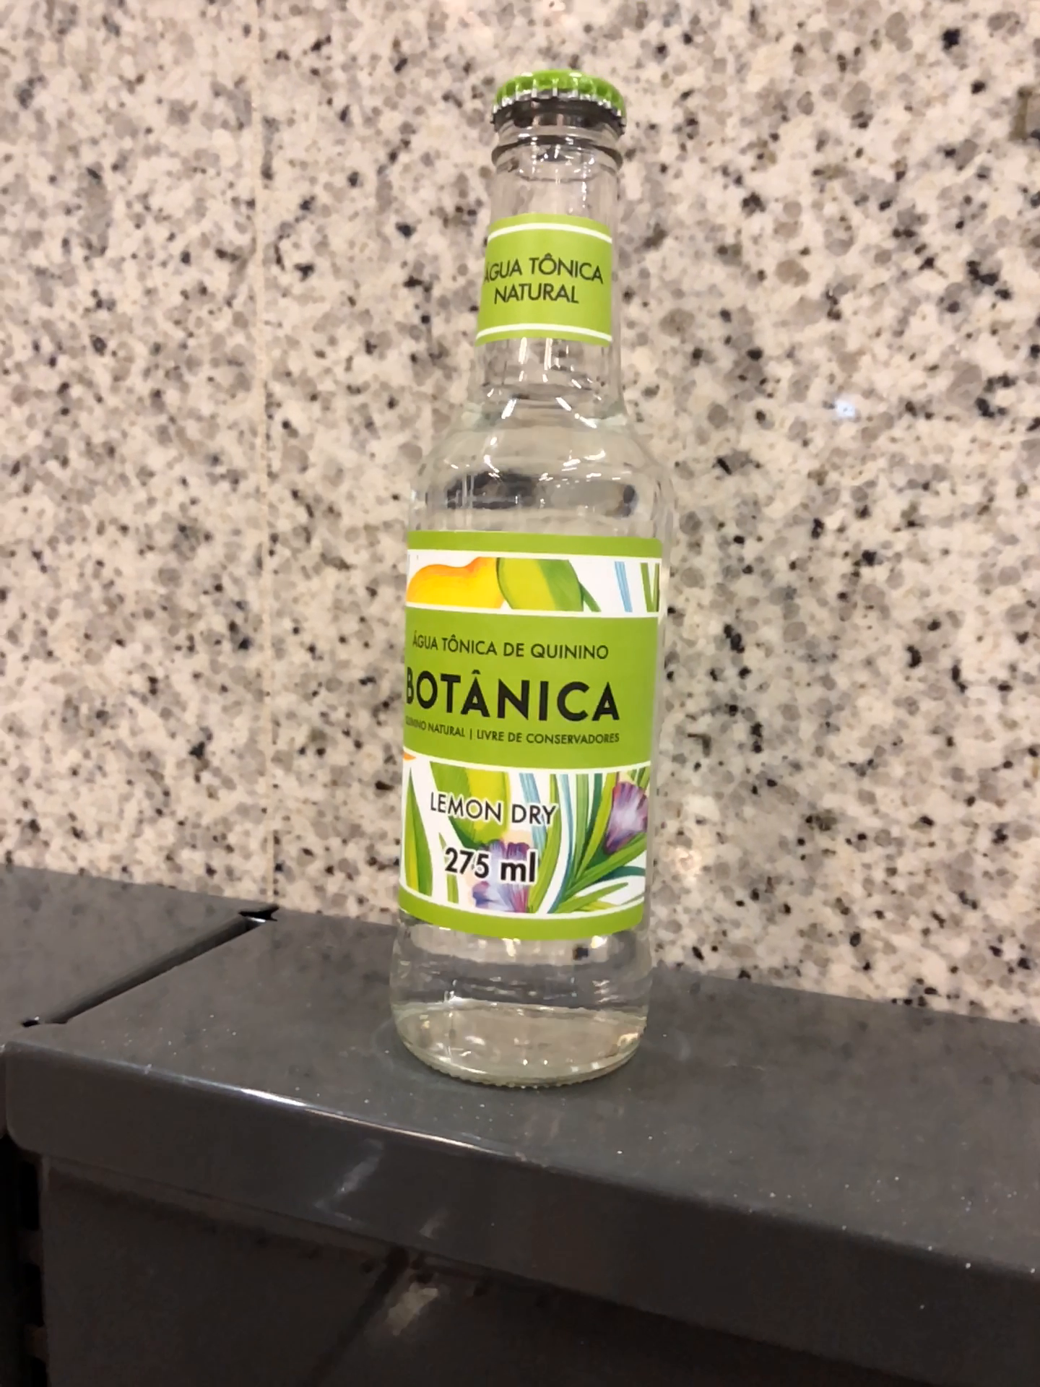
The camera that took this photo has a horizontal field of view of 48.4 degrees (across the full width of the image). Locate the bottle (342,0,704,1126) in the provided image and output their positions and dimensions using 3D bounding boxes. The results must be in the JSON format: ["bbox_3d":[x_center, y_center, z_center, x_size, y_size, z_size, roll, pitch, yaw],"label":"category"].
[{"bbox_3d":[0.002,-0.025,0.249,0.060,0.209,0.060,1,8,0],"label":"bottle"}]
